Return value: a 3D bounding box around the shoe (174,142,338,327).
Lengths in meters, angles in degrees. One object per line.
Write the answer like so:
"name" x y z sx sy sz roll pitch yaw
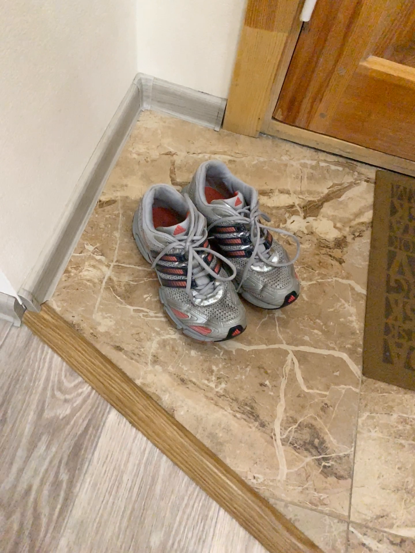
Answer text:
"shoe" 0.059 -0.066 0.621 0.110 0.090 0.240 -25 68 -20

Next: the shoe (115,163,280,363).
"shoe" -0.023 -0.024 0.583 0.110 0.090 0.240 -23 68 -19
